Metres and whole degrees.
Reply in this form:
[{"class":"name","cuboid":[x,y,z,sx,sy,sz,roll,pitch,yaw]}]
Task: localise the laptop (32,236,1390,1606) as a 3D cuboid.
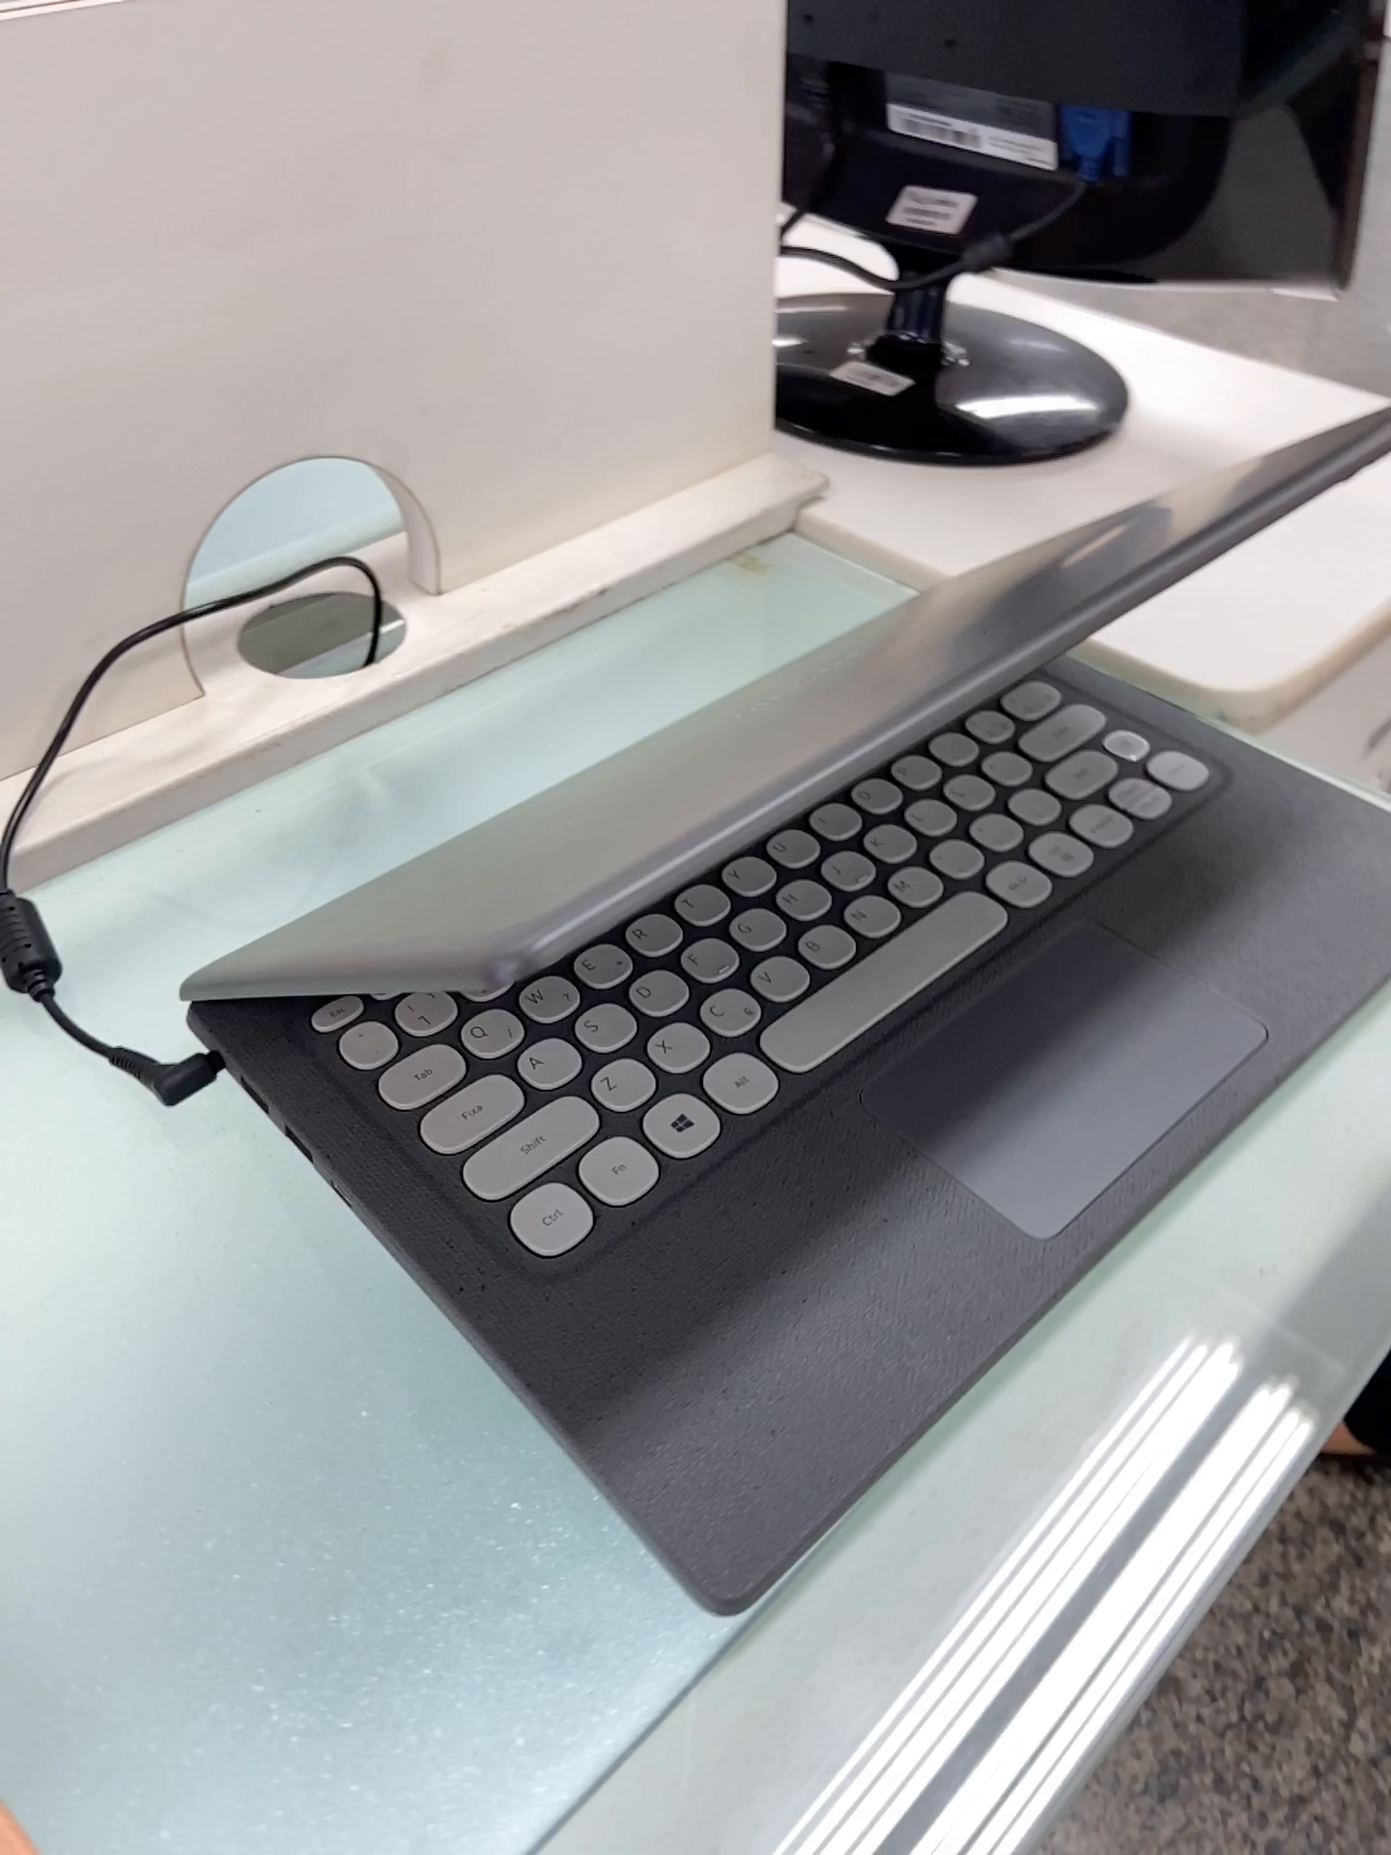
[{"class":"laptop","cuboid":[0.050,-0.047,0.364,0.317,0.132,0.212,-32,51,-30]}]
